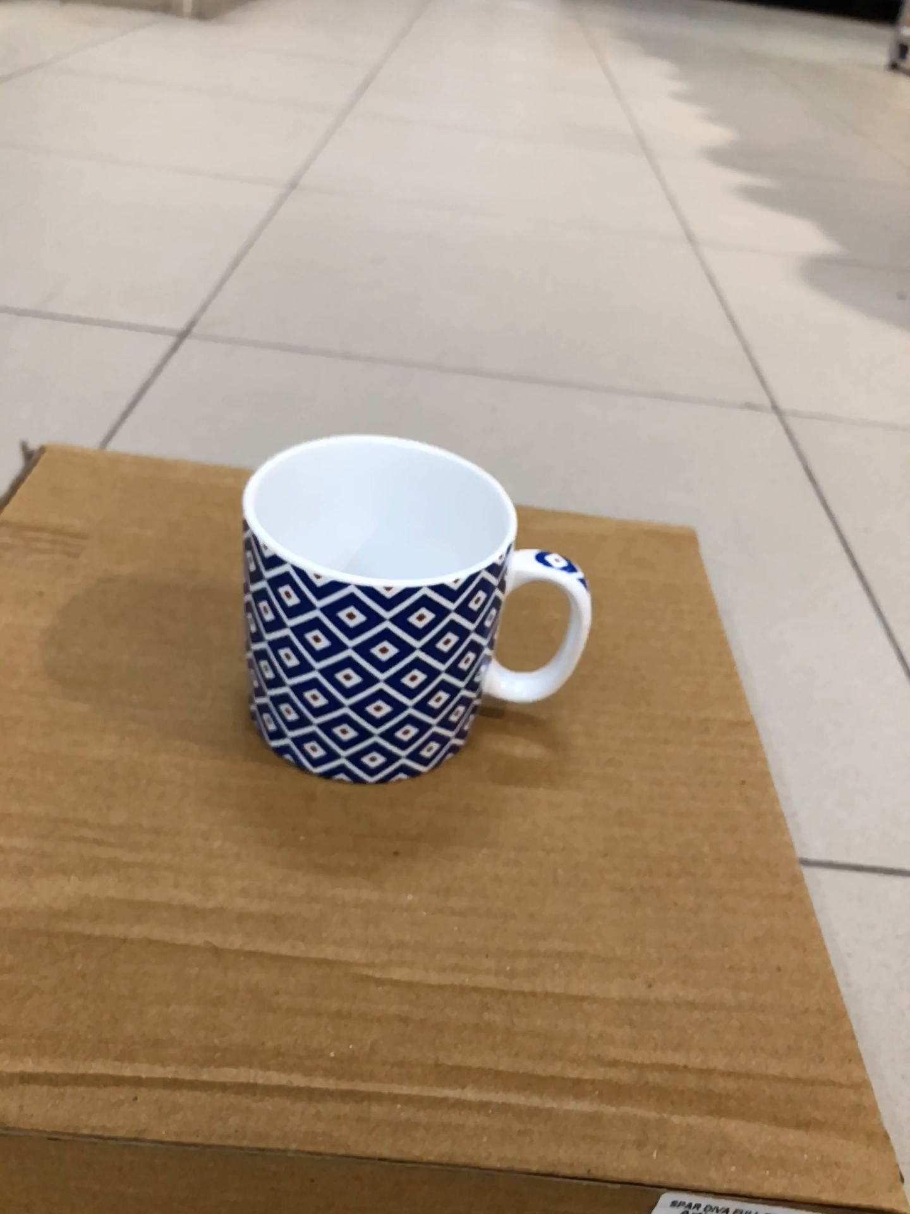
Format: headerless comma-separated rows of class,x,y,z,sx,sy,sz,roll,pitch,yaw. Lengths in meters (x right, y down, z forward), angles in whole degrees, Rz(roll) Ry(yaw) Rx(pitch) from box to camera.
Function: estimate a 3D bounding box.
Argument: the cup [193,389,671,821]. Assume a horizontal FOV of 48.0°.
cup,-0.009,-0.002,0.289,0.110,0.079,0.081,6,35,-3
